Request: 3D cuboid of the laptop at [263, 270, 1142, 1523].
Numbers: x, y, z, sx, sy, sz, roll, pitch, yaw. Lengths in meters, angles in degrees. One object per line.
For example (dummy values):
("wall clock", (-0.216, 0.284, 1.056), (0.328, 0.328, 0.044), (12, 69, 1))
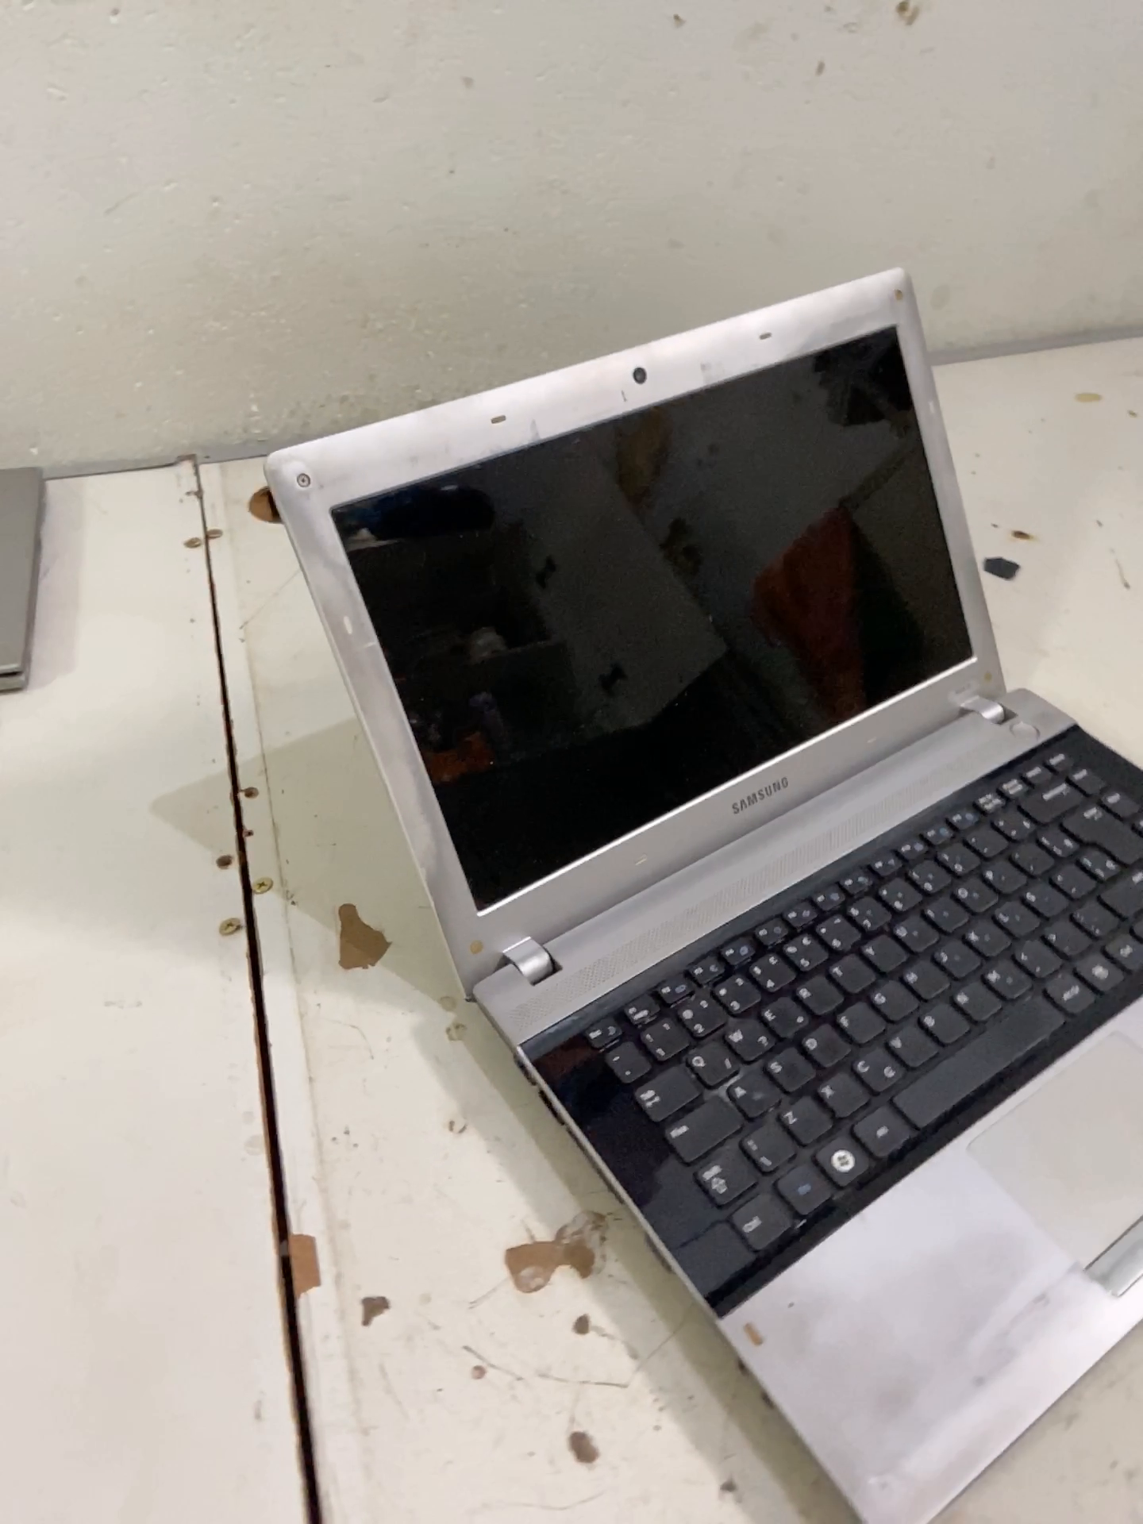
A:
("laptop", (0.130, -0.011, 0.459), (0.342, 0.180, 0.367), (-25, 48, -25))
